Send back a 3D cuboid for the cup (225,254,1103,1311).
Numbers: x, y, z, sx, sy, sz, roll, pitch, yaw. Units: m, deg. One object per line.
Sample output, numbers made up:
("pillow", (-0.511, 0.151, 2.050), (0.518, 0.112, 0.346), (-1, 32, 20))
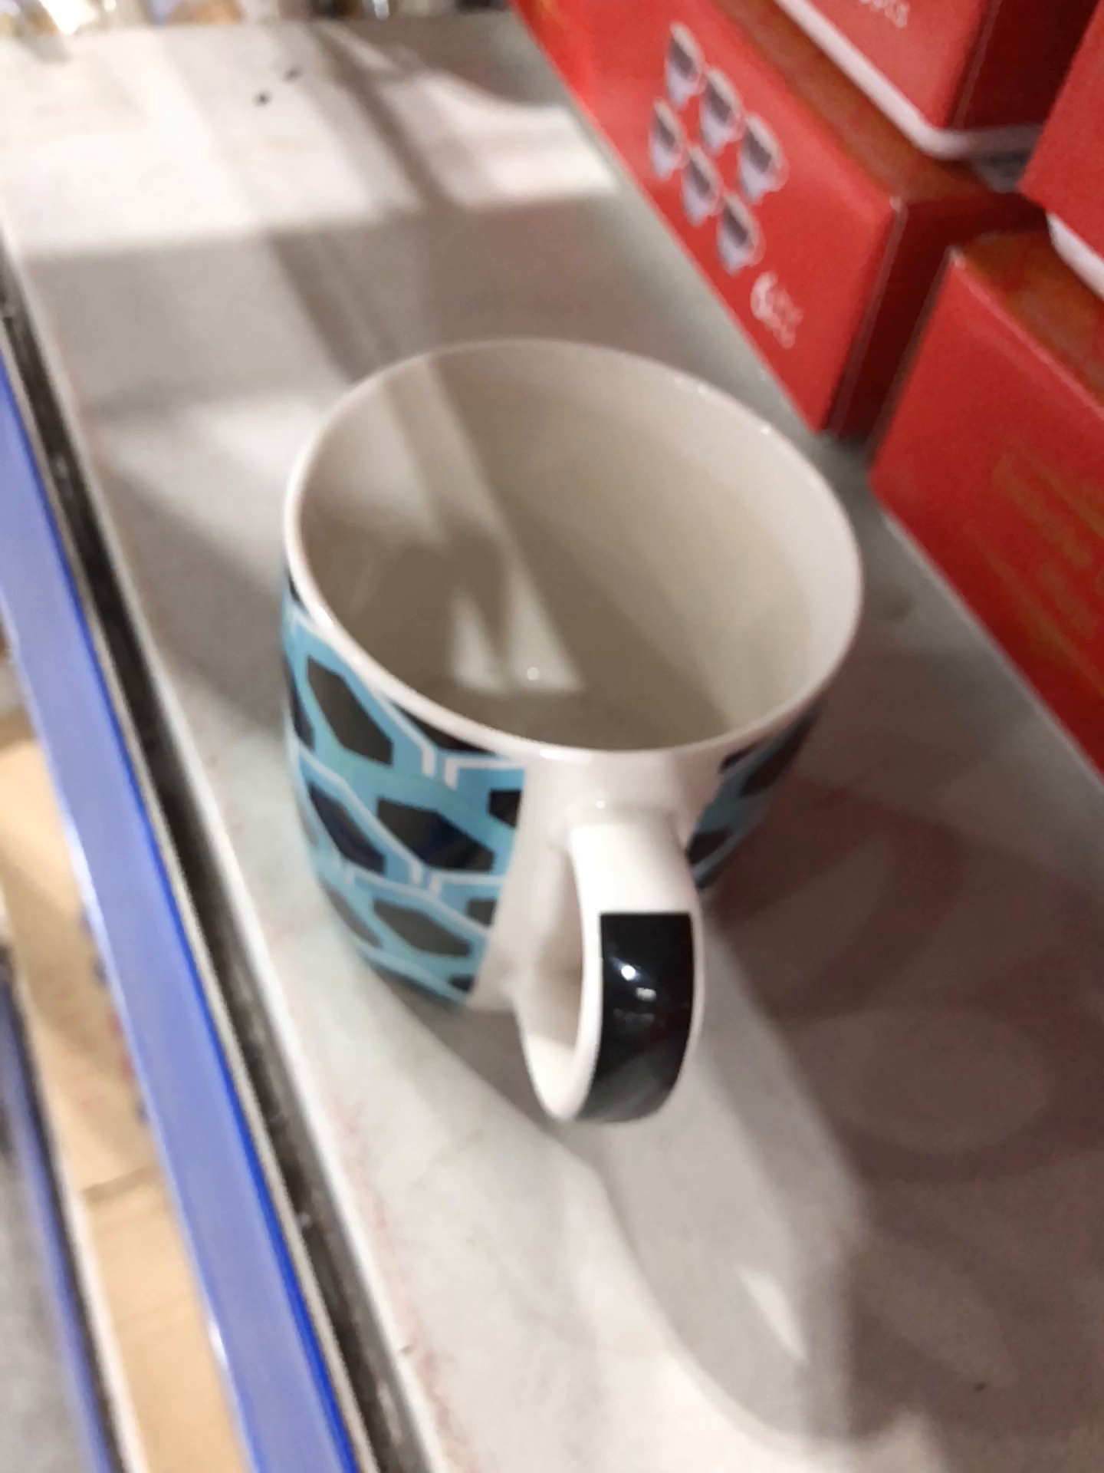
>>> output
("cup", (0.006, 0.006, 0.224), (0.110, 0.120, 0.130), (-5, 53, -14))
